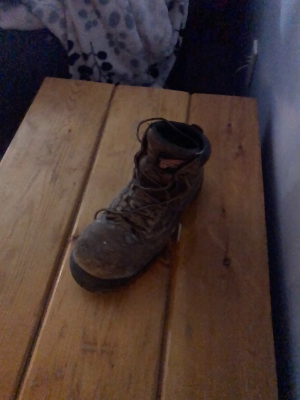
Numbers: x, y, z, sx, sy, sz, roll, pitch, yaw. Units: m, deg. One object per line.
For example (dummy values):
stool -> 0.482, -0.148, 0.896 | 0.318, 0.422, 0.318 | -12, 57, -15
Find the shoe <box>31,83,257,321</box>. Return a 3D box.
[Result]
shoe -> 0.008, -0.011, 0.459 | 0.130, 0.130, 0.290 | 30, 59, 20
